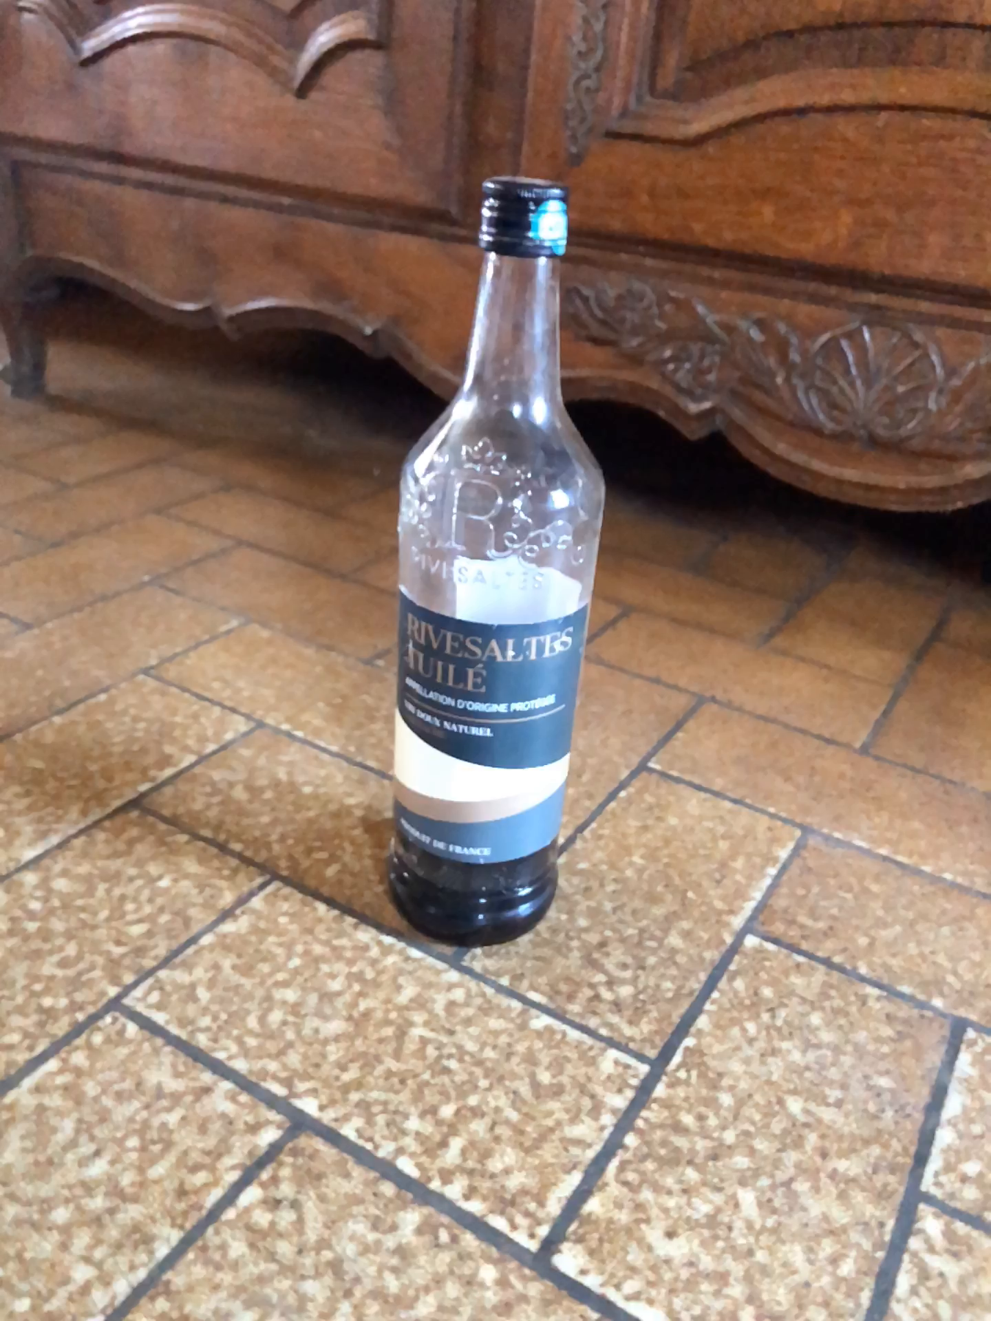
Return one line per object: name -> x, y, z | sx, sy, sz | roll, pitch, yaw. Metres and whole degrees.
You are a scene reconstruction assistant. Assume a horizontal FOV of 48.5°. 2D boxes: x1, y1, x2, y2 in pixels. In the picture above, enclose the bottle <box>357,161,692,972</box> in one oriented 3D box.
bottle -> 0.006, -0.030, 0.438 | 0.090, 0.298, 0.091 | 4, 27, -2
